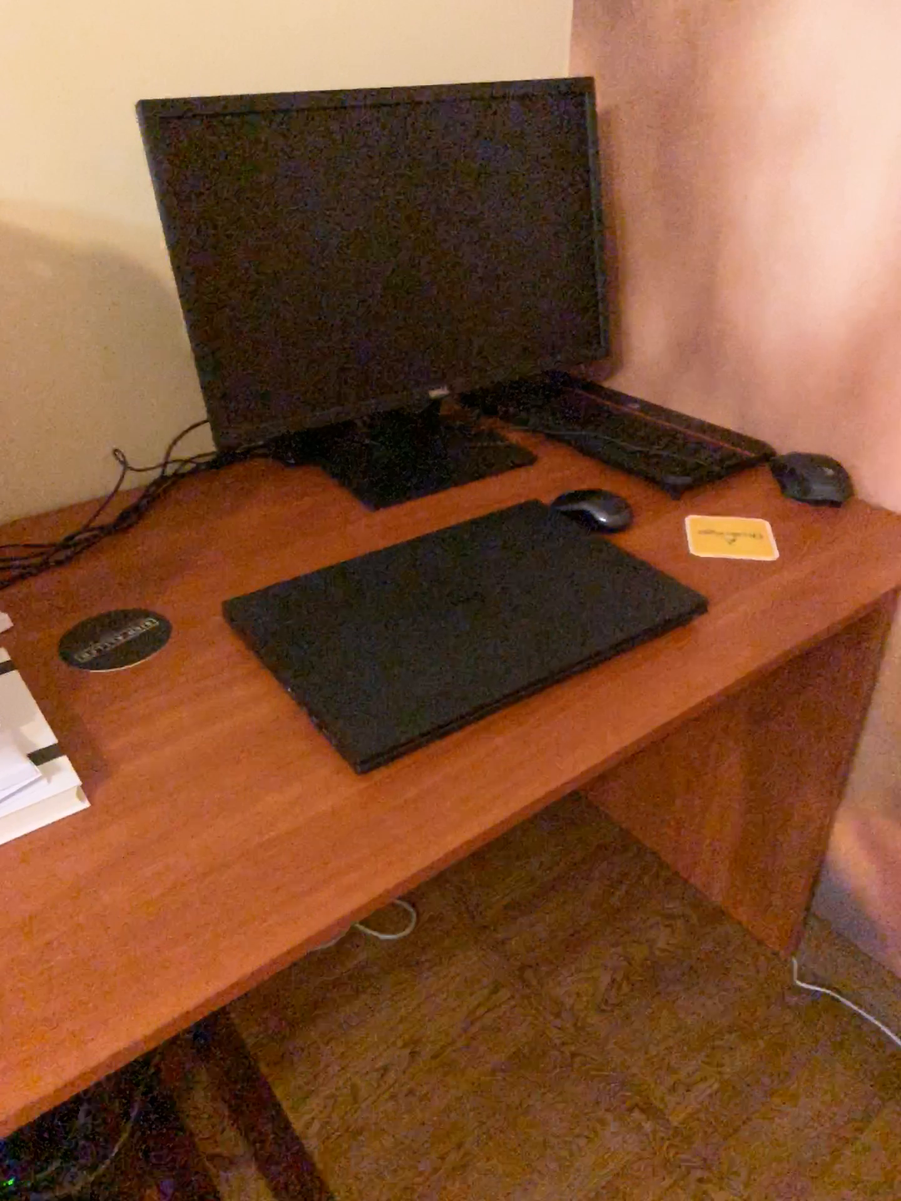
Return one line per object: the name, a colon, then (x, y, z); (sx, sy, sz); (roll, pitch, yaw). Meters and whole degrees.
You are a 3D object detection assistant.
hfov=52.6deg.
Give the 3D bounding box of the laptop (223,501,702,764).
laptop: (0.012, 0.003, 0.821); (0.360, 0.002, 0.249); (-20, 38, -30)
